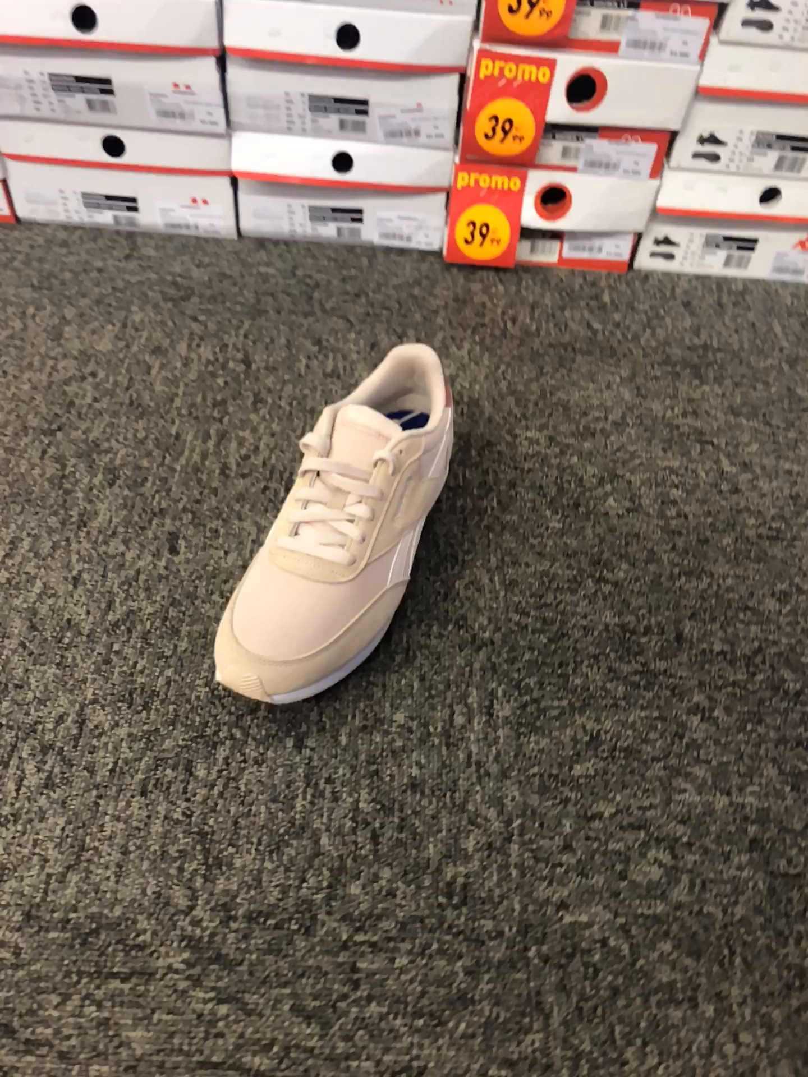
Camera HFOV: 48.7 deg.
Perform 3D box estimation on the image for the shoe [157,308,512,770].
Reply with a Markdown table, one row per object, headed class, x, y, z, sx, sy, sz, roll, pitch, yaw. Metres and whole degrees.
| class | x | y | z | sx | sy | sz | roll | pitch | yaw |
| --- | --- | --- | --- | --- | --- | --- | --- | --- | --- |
| shoe | -0.030 | -0.013 | 0.564 | 0.100 | 0.109 | 0.271 | 20 | 52 | 11 |
